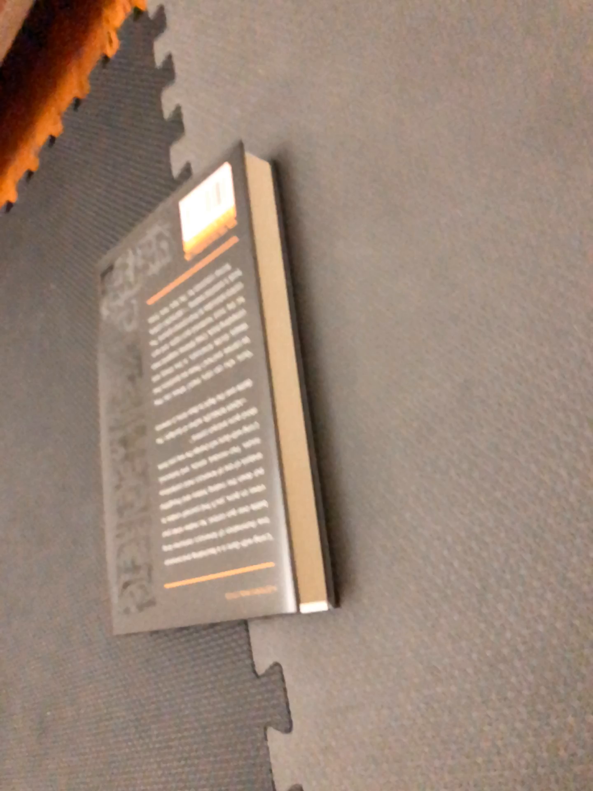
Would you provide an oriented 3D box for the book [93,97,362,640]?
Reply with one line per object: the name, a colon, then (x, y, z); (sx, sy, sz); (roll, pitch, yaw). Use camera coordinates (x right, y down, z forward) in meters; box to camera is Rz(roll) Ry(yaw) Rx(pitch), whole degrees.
book: (-0.057, -0.005, 0.376); (0.170, 0.040, 0.260); (-24, 65, 43)
